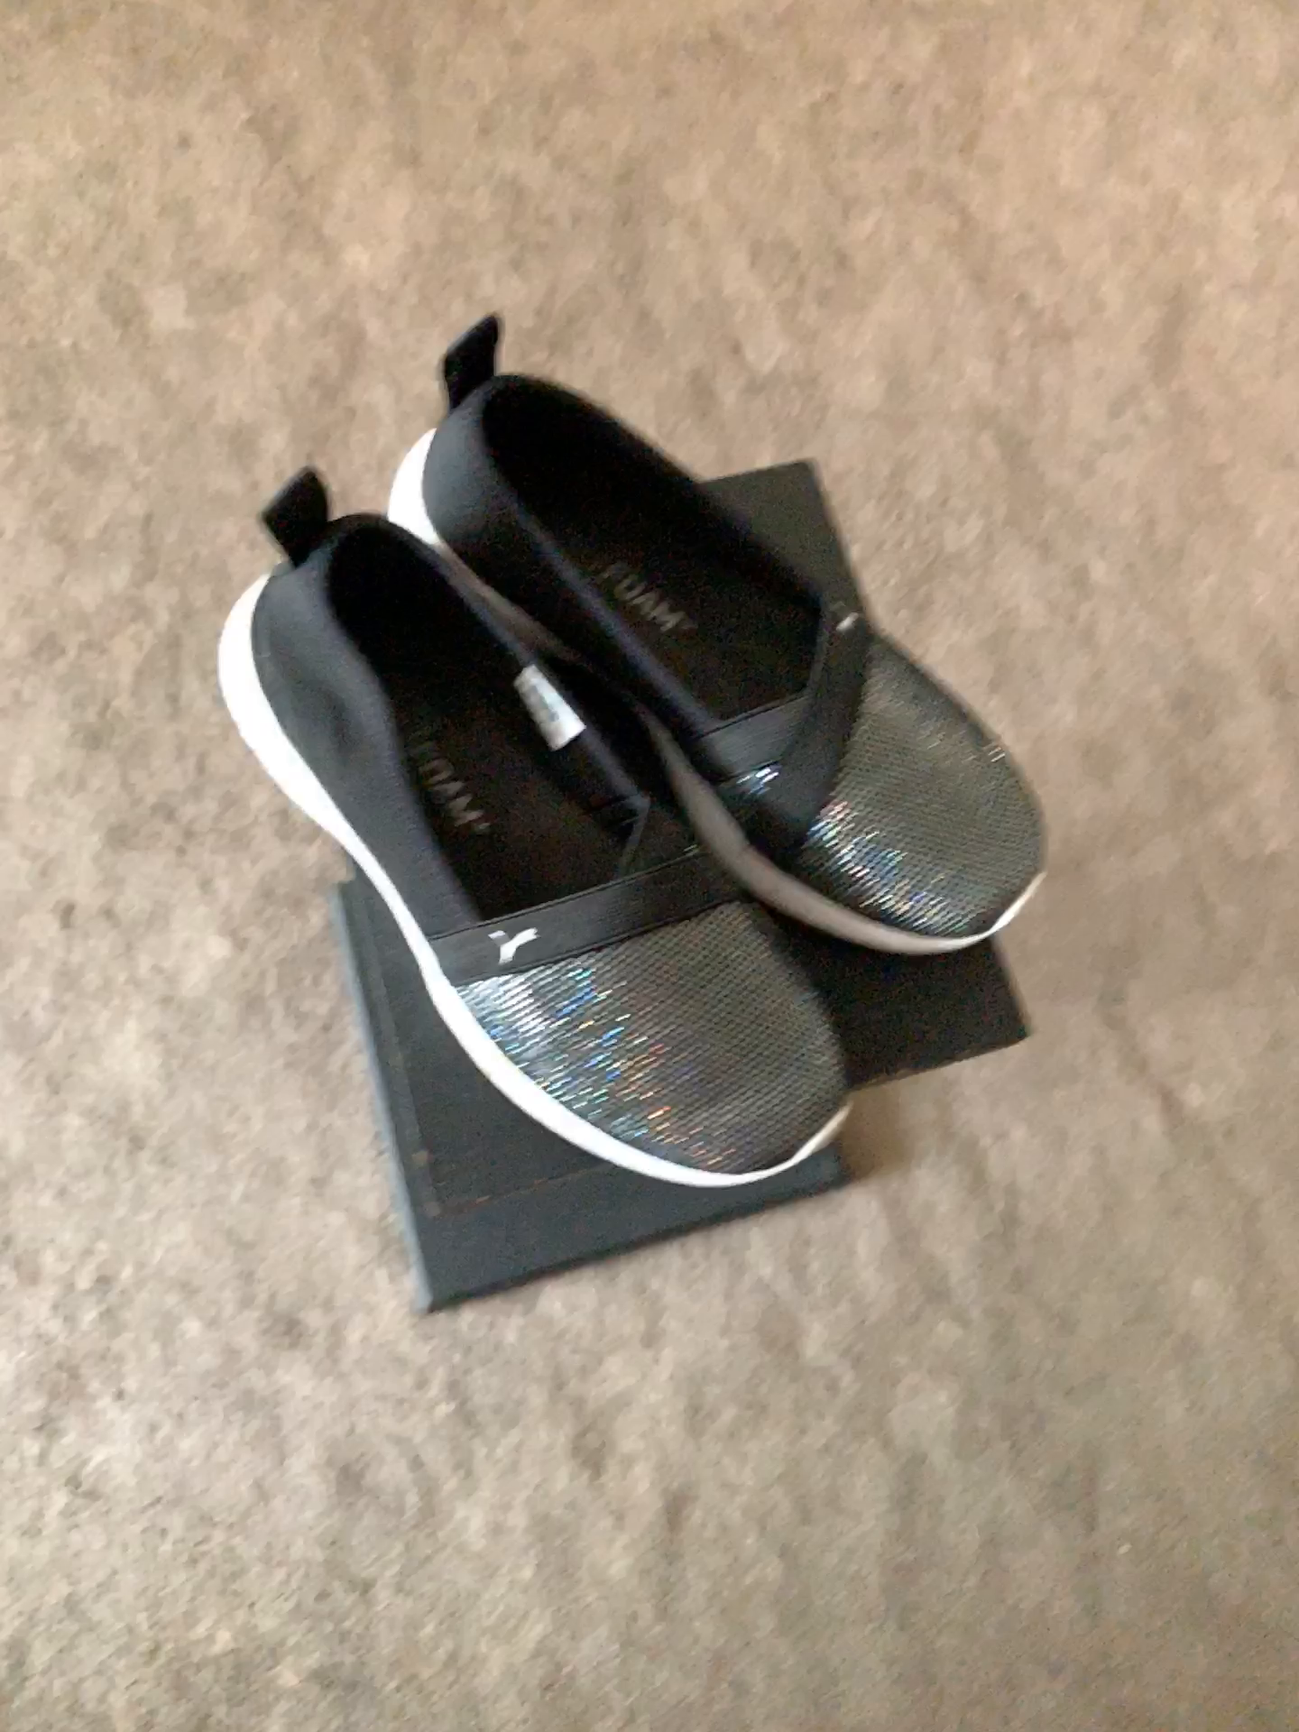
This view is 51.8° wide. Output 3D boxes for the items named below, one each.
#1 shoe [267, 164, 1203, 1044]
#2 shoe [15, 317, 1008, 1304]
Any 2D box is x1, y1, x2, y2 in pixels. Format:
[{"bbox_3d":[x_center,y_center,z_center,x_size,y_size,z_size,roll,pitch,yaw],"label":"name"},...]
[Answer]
[{"bbox_3d":[0.017,-0.077,0.414,0.256,0.100,0.100,41,72,9],"label":"shoe"},{"bbox_3d":[-0.042,-0.013,0.380,0.100,0.100,0.260,-40,79,-16],"label":"shoe"}]
